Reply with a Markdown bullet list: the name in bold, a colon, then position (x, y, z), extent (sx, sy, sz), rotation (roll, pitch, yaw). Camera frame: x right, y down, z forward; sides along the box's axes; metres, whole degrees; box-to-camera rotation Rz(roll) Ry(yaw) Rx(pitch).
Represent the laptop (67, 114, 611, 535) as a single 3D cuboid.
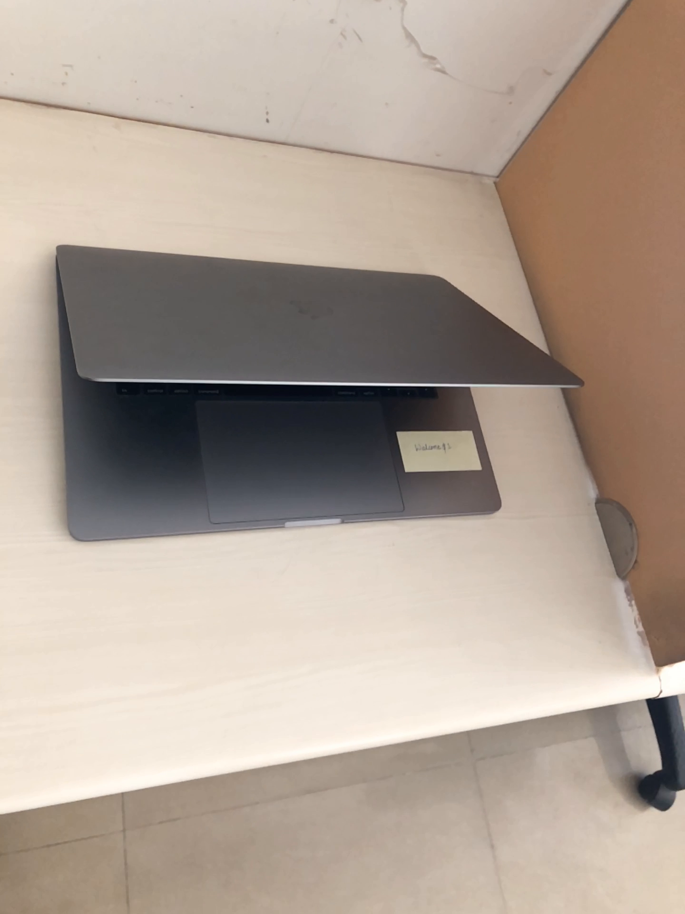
- **laptop**: position (-0.016, -0.085, 0.544), extent (0.330, 0.134, 0.233), rotation (-1, 65, -23)
